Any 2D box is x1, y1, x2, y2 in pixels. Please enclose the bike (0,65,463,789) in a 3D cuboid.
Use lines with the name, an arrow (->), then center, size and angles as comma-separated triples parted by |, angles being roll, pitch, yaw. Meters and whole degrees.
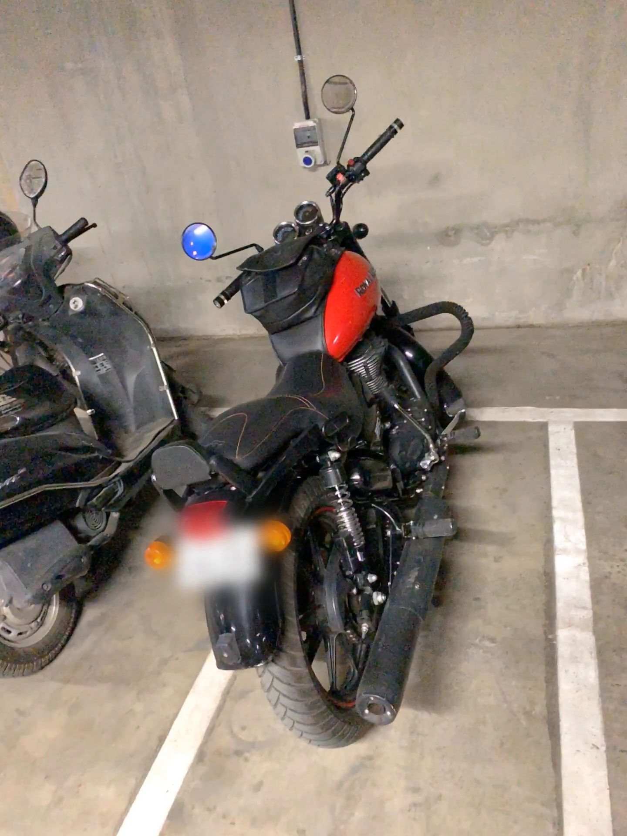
bike -> -0.078, -0.205, 2.016 | 0.829, 1.302, 1.843 | -5, 32, 10
